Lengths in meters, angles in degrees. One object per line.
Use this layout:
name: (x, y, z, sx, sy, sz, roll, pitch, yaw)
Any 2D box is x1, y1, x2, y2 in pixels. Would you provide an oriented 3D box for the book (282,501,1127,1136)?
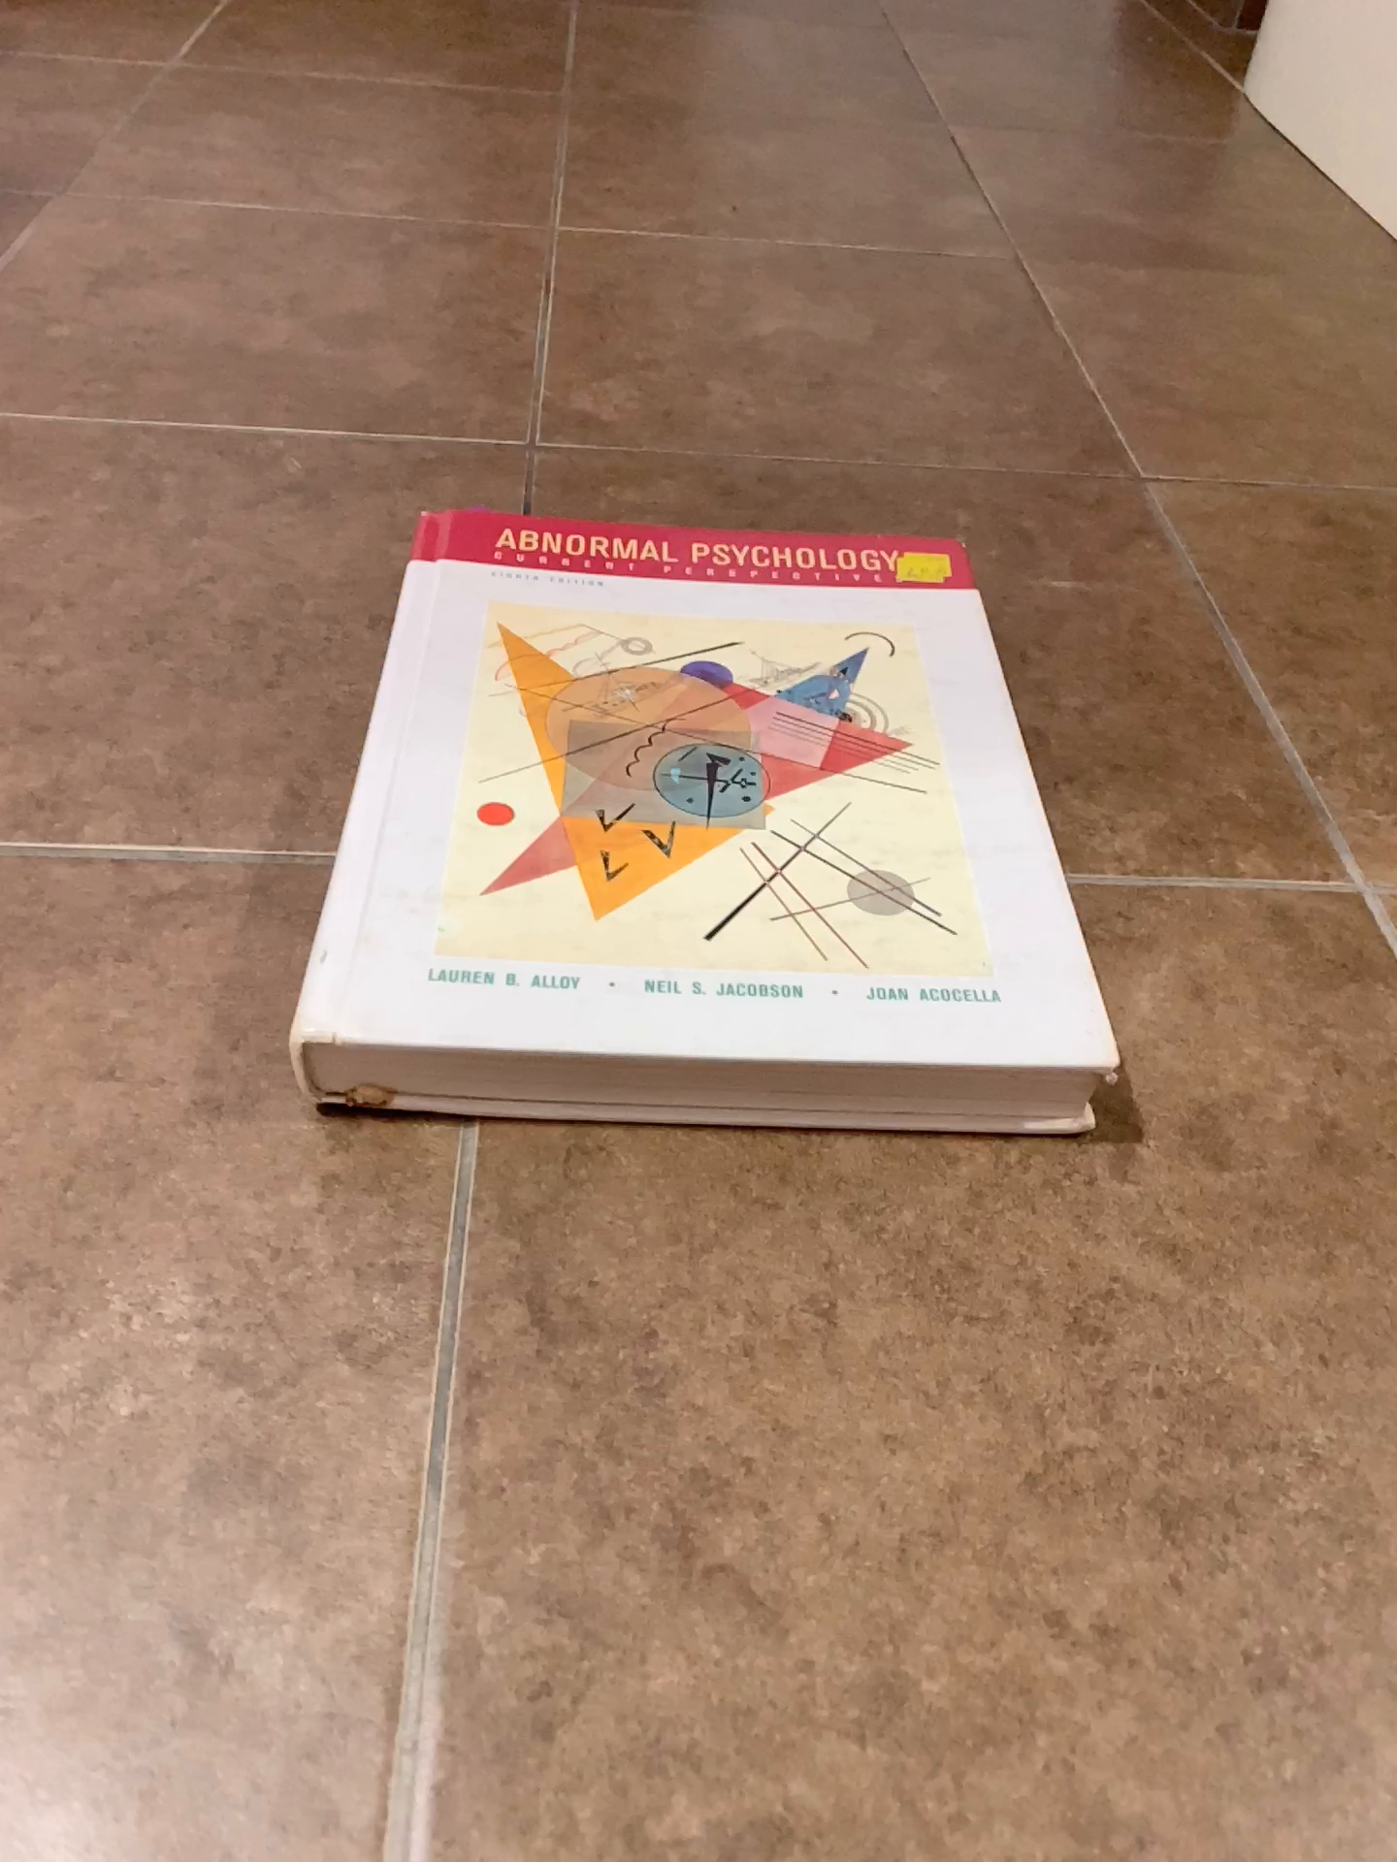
book: (-0.001, -0.058, 0.489, 0.222, 0.032, 0.290, 2, 44, -4)
